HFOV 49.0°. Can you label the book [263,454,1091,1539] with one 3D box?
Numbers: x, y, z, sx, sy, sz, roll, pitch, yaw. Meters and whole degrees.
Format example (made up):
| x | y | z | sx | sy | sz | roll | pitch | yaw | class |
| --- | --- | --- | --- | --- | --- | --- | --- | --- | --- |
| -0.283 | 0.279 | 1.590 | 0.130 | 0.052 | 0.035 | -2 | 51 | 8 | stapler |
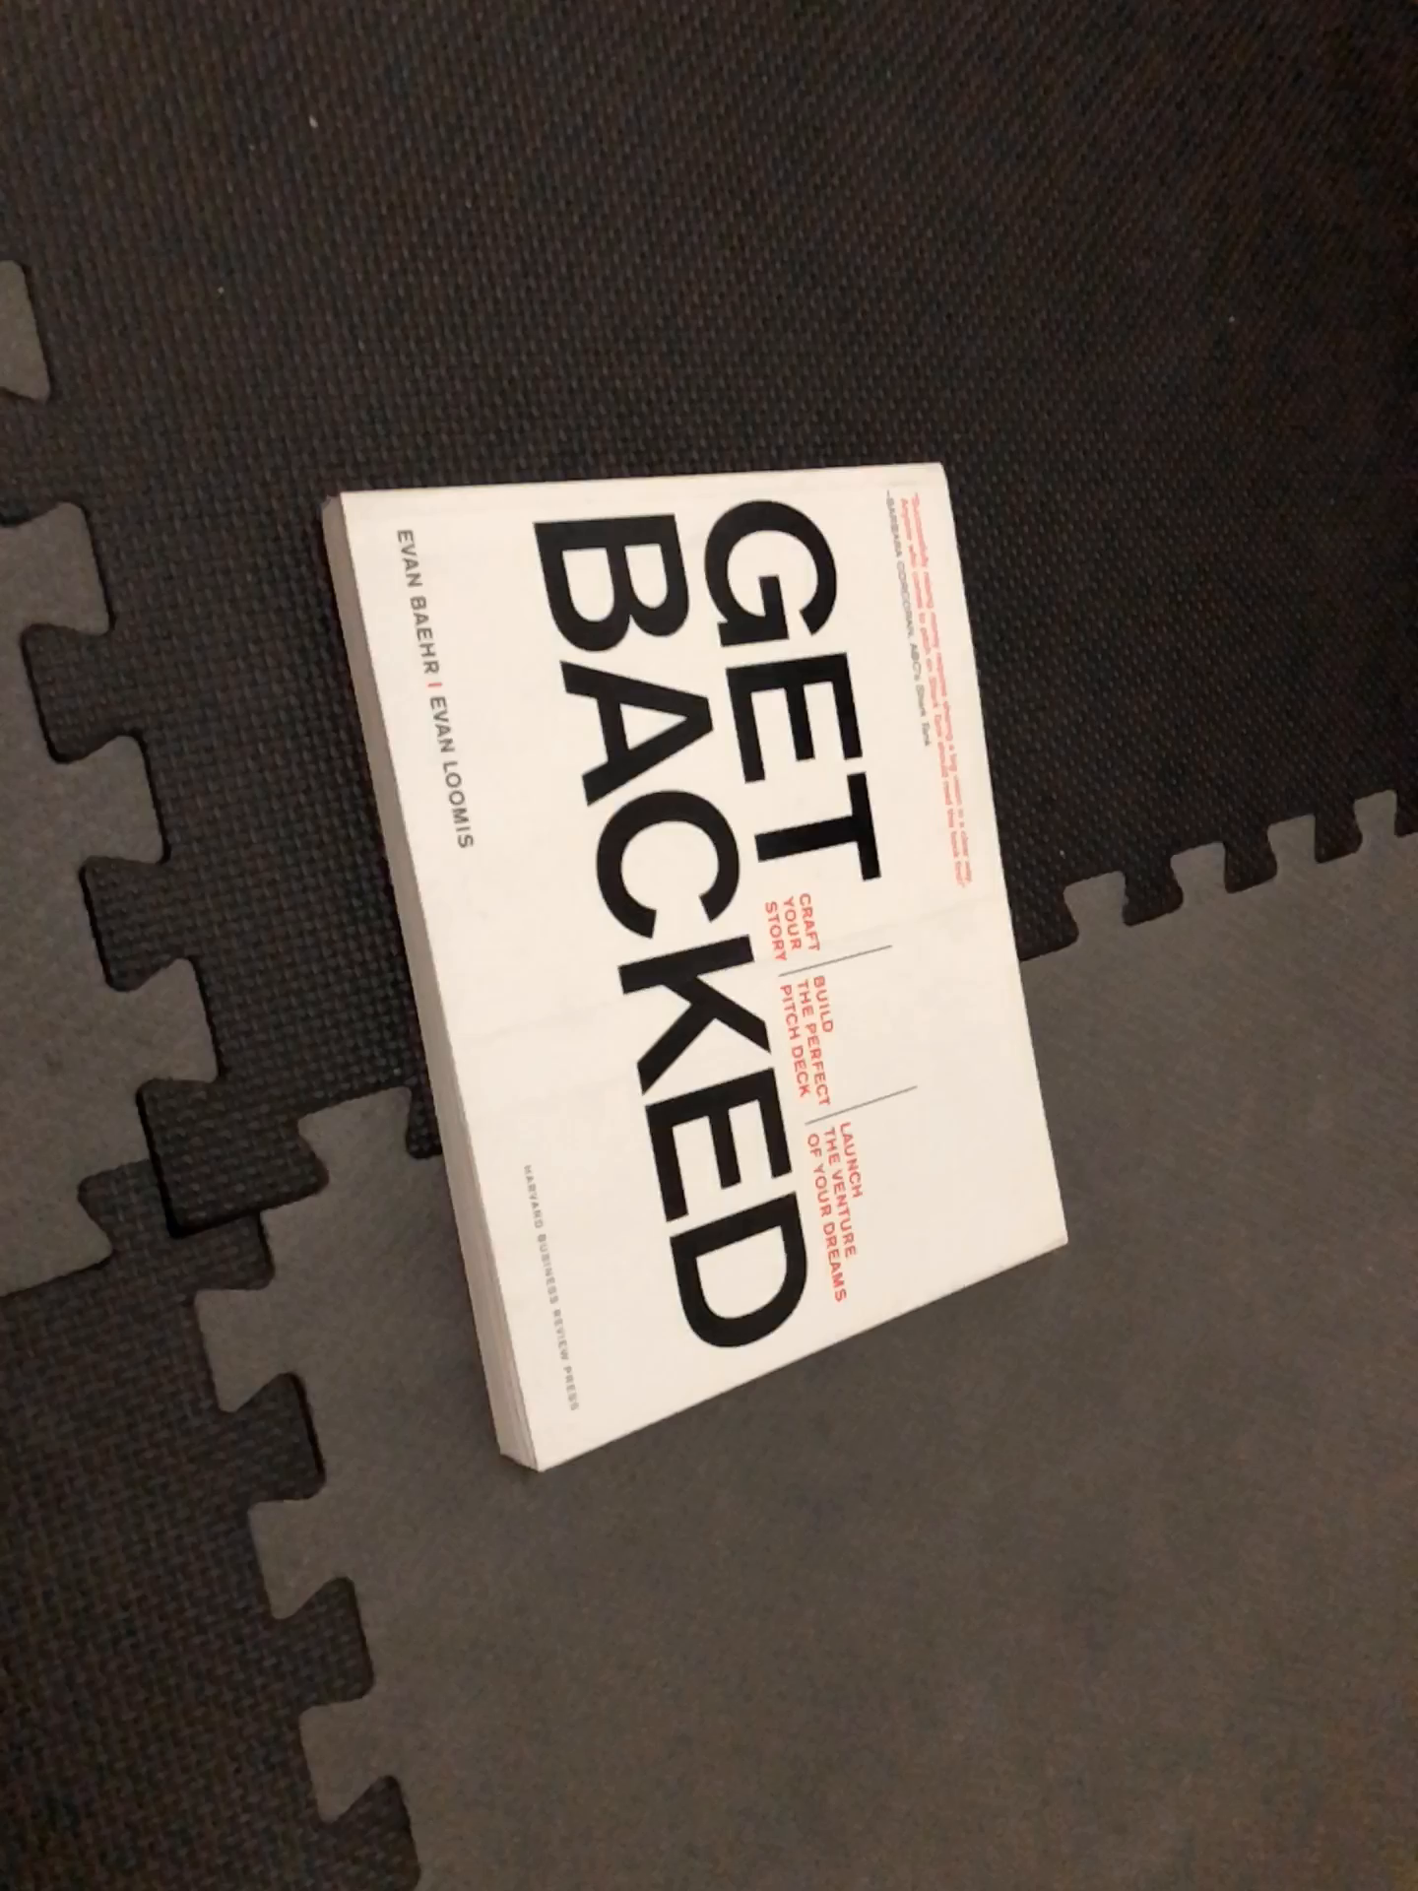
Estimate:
| x | y | z | sx | sy | sz | roll | pitch | yaw | class |
| --- | --- | --- | --- | --- | --- | --- | --- | --- | --- |
| 0.007 | -0.001 | 0.438 | 0.211 | 0.020 | 0.260 | -13 | 97 | -31 | book |
